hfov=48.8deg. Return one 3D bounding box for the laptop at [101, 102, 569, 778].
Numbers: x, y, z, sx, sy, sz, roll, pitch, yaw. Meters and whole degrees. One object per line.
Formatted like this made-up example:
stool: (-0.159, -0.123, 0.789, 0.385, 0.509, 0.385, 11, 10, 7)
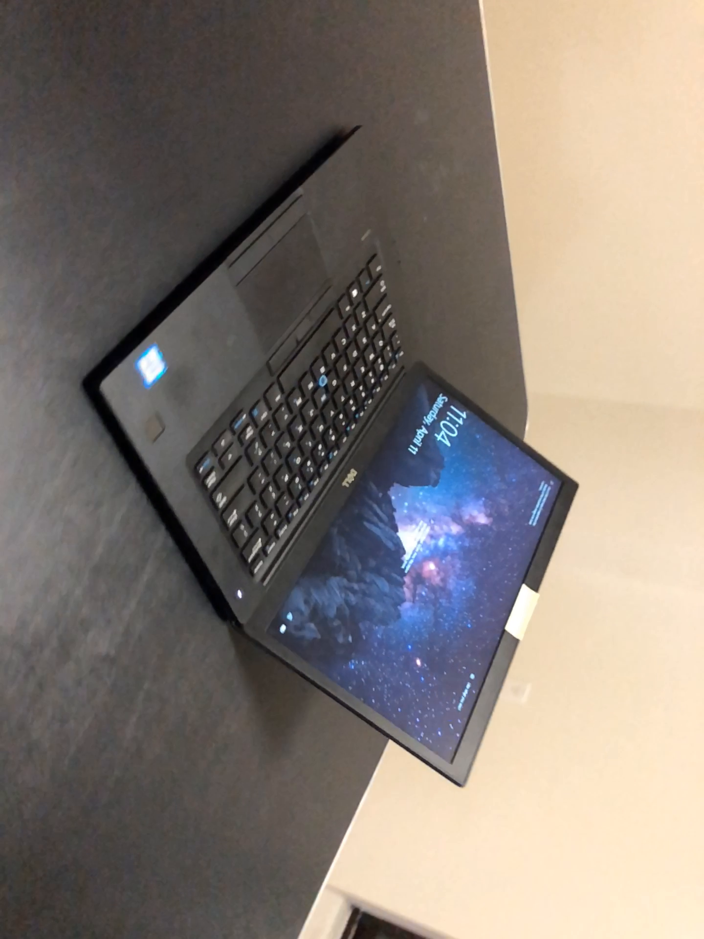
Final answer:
laptop: (0.043, -0.019, 0.587, 0.320, 0.140, 0.368, -58, 145, -36)
